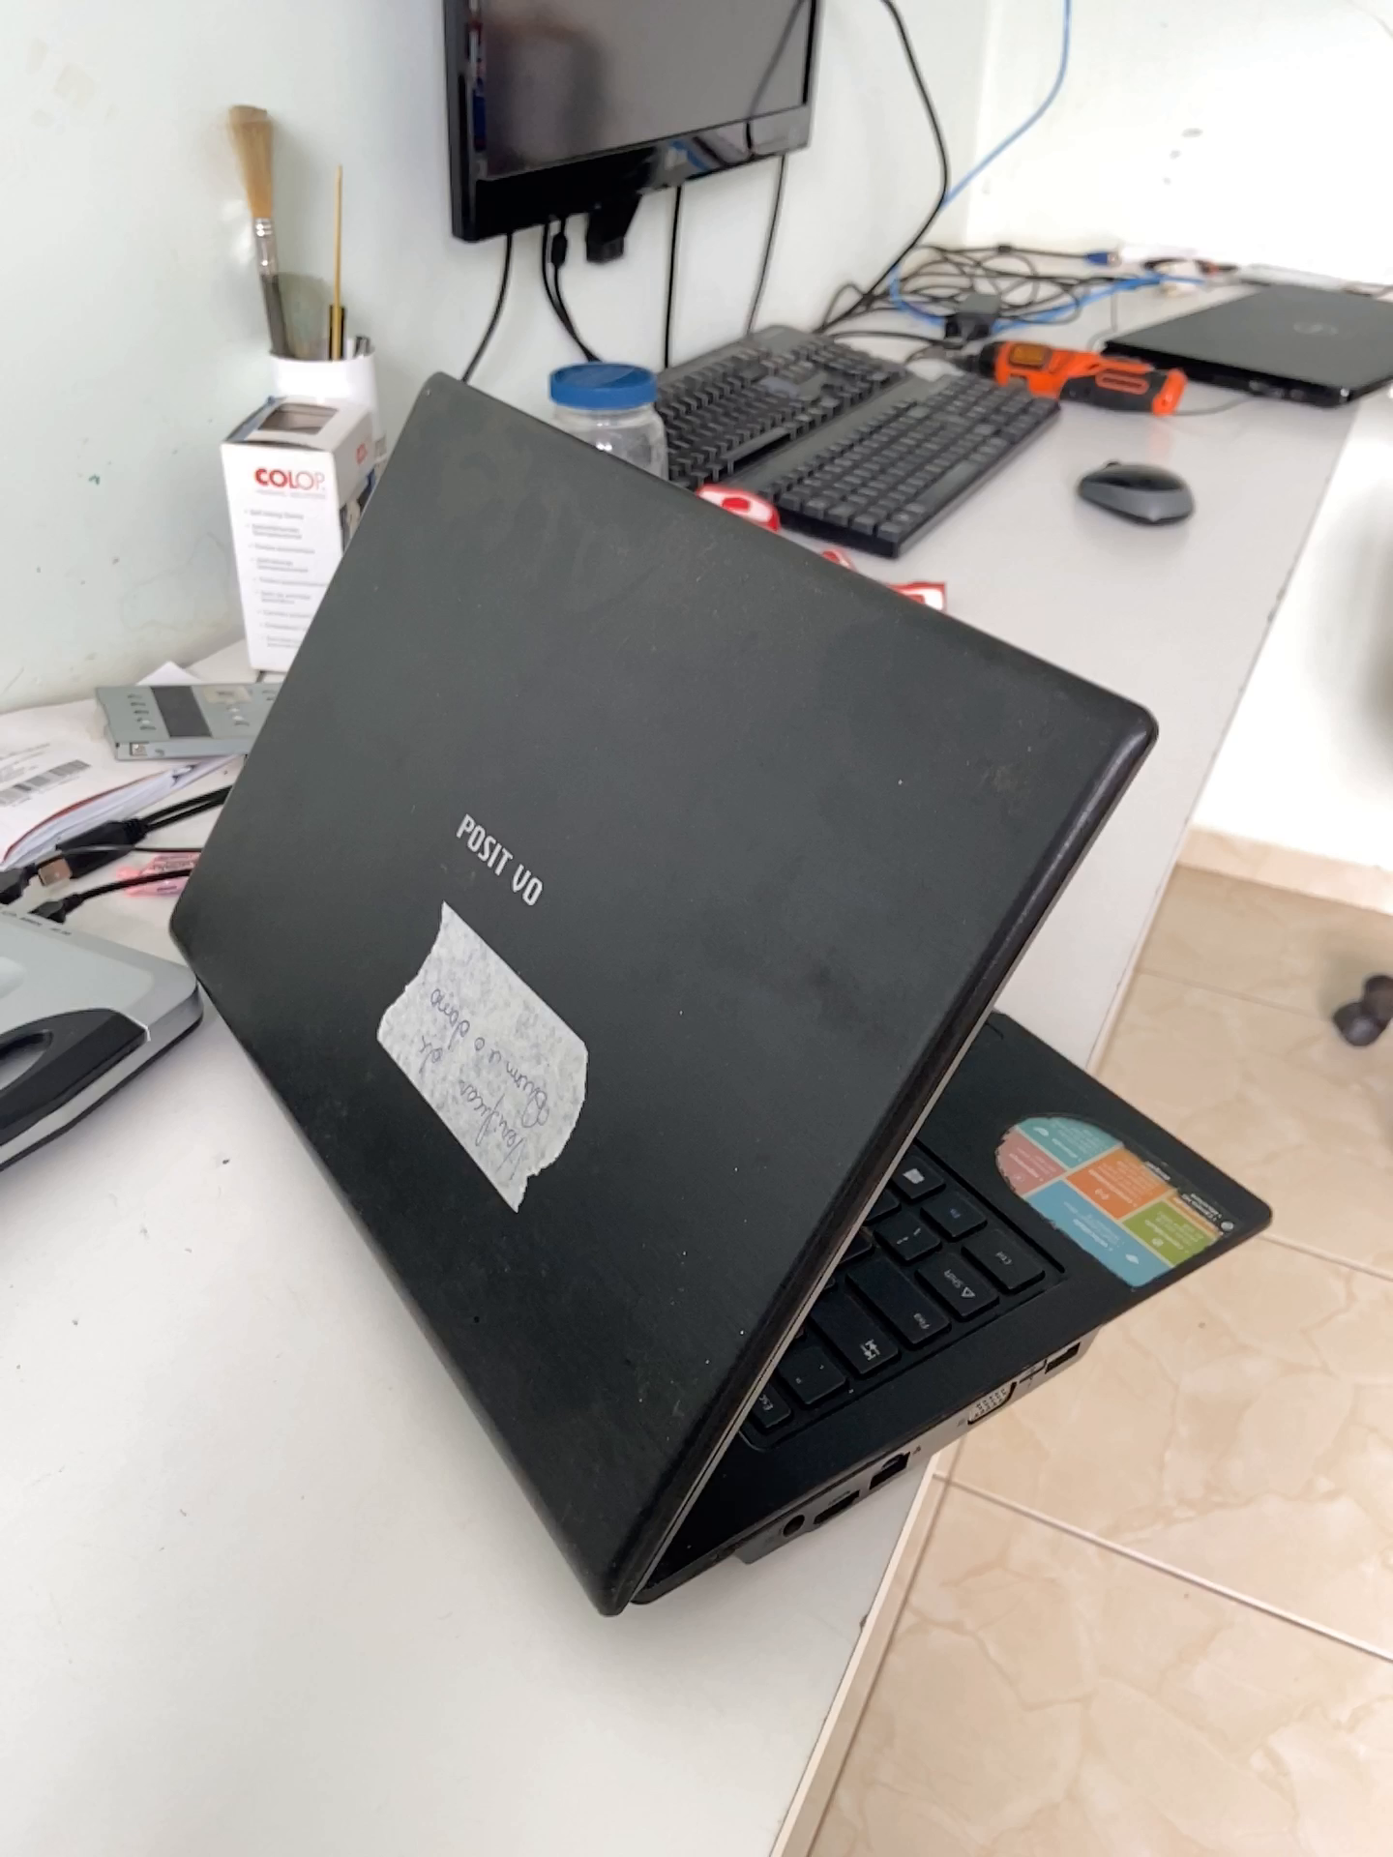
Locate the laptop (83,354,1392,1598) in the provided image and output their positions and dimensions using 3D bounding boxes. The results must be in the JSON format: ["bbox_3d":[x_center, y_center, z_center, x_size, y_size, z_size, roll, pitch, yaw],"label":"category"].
[{"bbox_3d":[-0.007,-0.036,0.449,0.233,0.189,0.331,-19,39,-29],"label":"laptop"}]
